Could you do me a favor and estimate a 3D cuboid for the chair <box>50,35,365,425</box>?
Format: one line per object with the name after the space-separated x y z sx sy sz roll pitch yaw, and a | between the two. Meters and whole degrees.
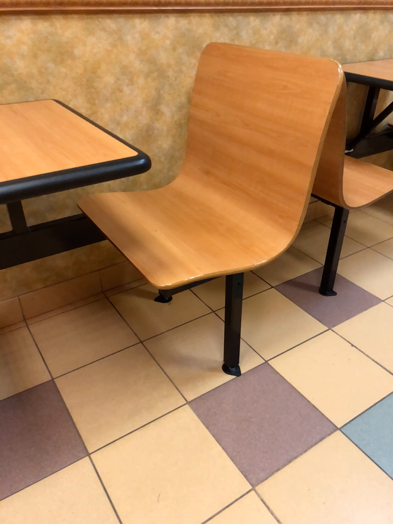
-0.021 -0.147 1.271 0.511 0.885 0.633 -17 36 -27 | chair
